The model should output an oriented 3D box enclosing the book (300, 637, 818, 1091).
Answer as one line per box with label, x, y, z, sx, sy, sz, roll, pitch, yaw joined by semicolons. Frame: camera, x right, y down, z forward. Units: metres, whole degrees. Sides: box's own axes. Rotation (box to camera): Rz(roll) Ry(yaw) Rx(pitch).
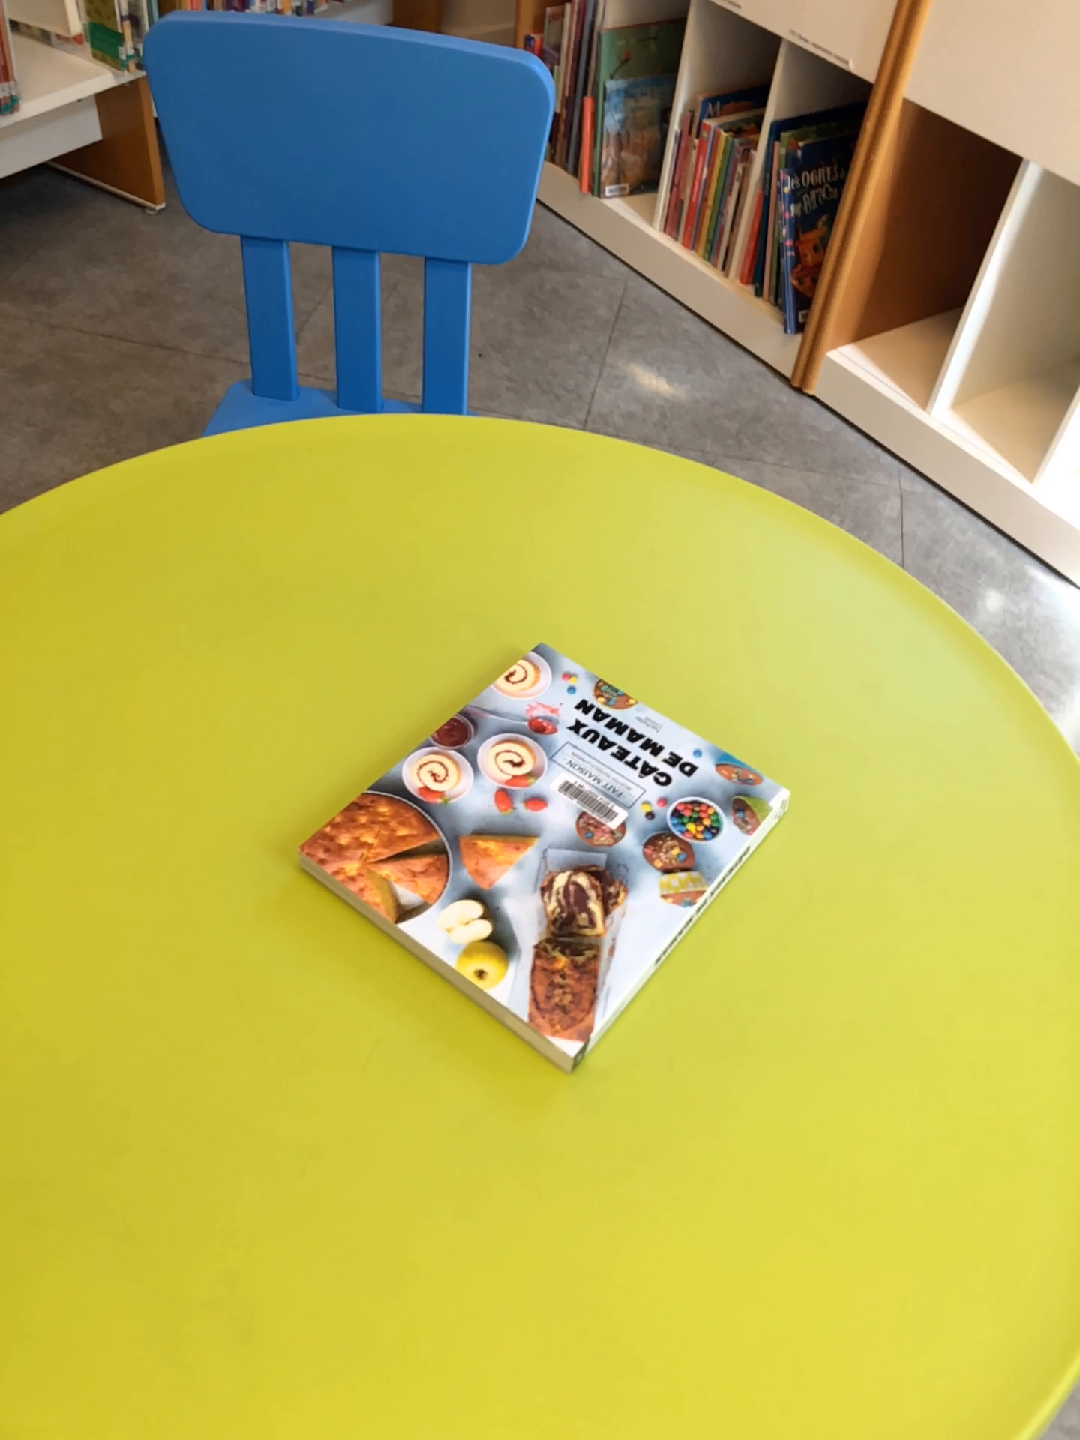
book;0.017;0.065;0.681;0.200;0.021;0.229;33;52;21
